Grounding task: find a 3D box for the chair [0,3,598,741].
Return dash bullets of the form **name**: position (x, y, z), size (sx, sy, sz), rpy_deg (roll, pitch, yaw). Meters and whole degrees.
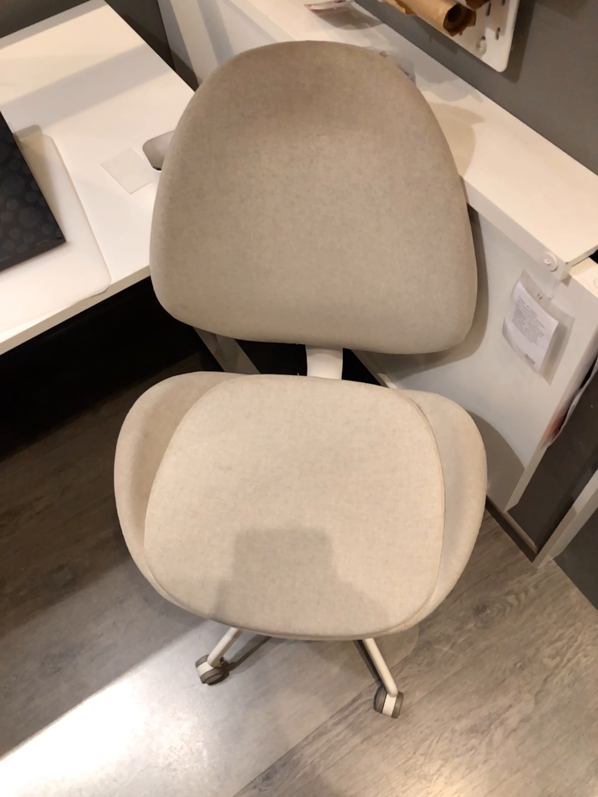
- **chair**: position (-0.013, 0.060, 1.037), size (0.680, 0.966, 0.683), rpy_deg (6, 60, 10)
